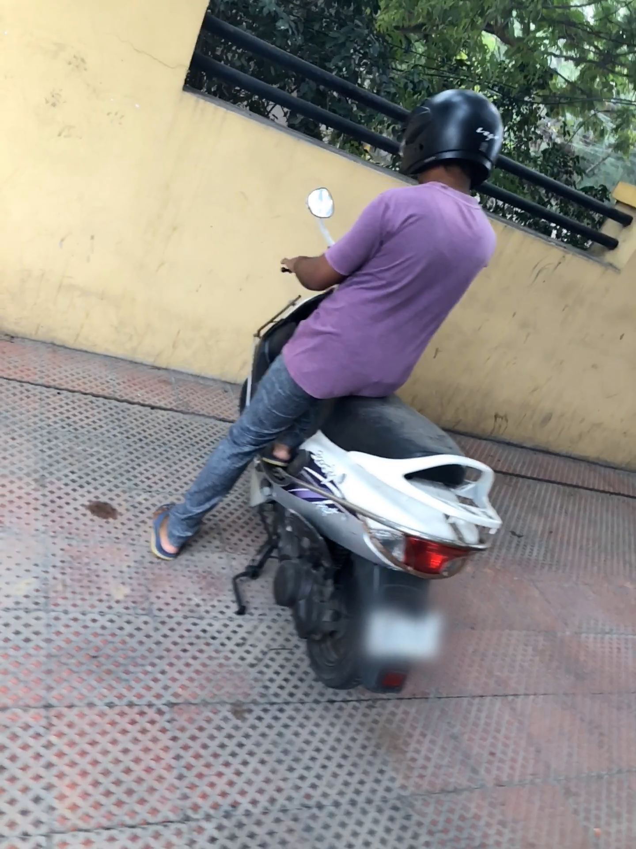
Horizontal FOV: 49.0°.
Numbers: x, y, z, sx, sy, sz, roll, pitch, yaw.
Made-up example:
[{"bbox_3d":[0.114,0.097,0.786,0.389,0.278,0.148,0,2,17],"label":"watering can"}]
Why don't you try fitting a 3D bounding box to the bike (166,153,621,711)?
[{"bbox_3d":[0.043,-0.068,2.303,0.643,0.949,1.508,12,31,-27],"label":"bike"}]
